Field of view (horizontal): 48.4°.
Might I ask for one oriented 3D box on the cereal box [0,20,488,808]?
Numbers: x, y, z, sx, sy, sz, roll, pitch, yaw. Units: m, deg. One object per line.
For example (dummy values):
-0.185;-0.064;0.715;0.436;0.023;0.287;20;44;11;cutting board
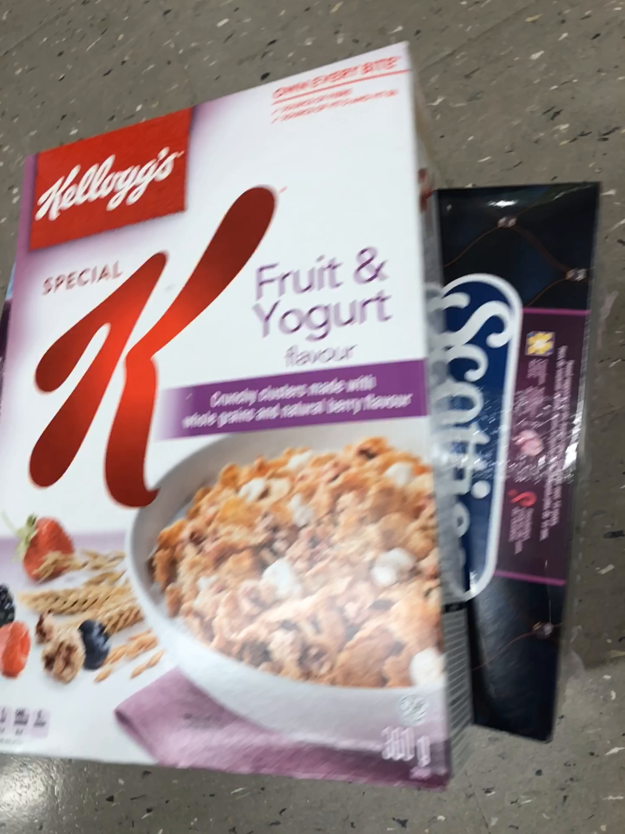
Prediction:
-0.046;-0.006;0.297;0.211;0.050;0.280;-6;73;21;cereal box
